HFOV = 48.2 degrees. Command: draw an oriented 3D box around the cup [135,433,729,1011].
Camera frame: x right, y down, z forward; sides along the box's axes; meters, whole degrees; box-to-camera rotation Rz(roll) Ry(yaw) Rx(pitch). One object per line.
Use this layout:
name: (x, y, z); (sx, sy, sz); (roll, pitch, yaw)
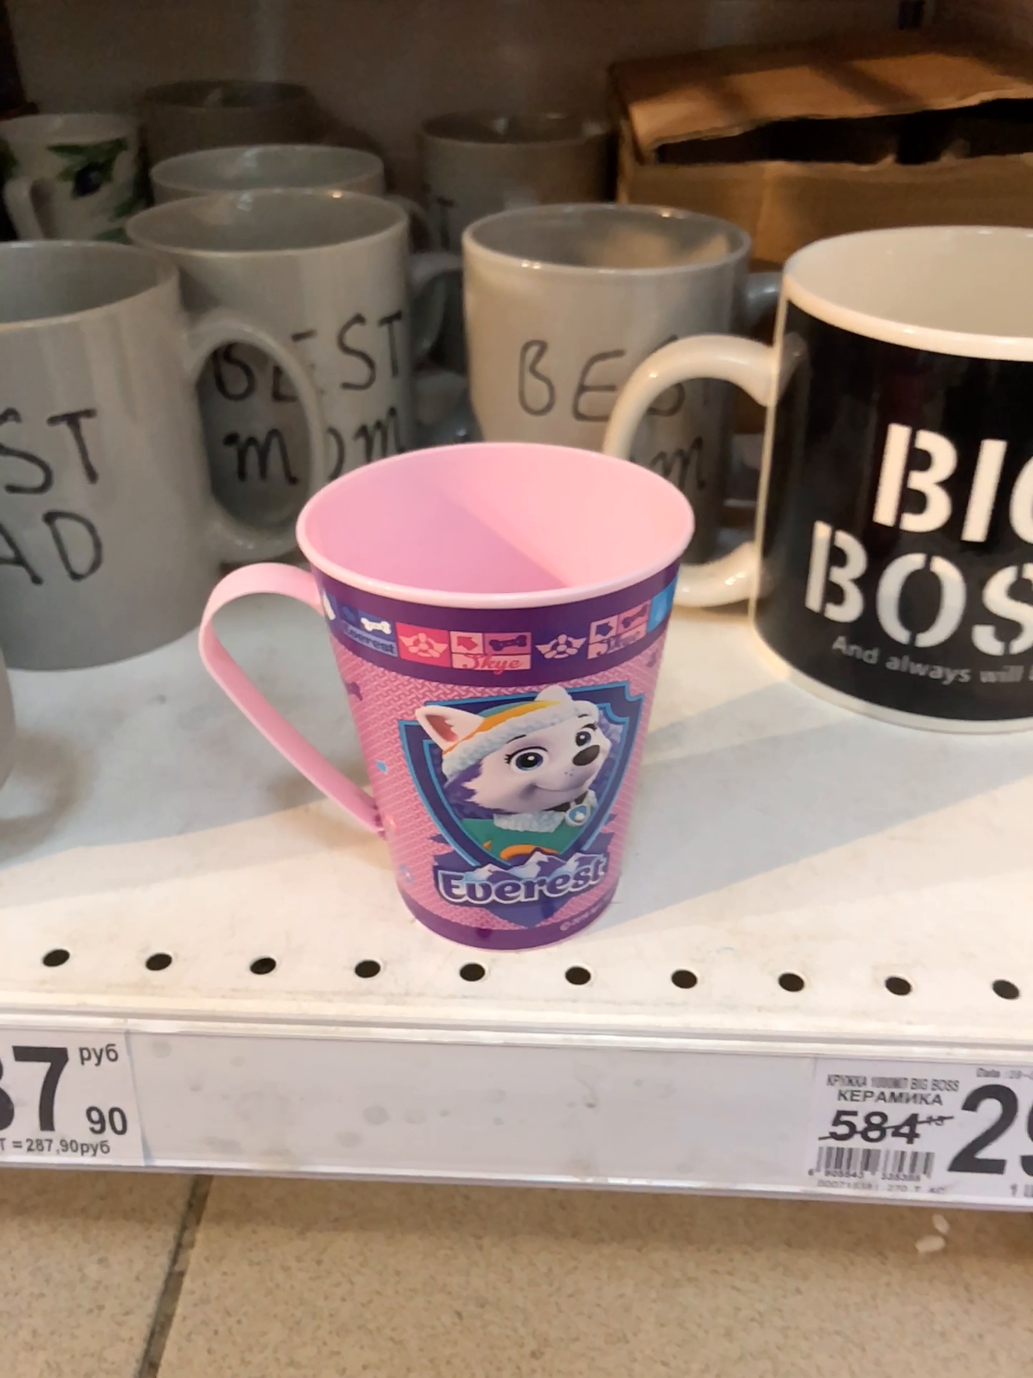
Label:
cup: (-0.018, 0.006, 0.272); (0.108, 0.104, 0.078); (-3, 34, -5)
